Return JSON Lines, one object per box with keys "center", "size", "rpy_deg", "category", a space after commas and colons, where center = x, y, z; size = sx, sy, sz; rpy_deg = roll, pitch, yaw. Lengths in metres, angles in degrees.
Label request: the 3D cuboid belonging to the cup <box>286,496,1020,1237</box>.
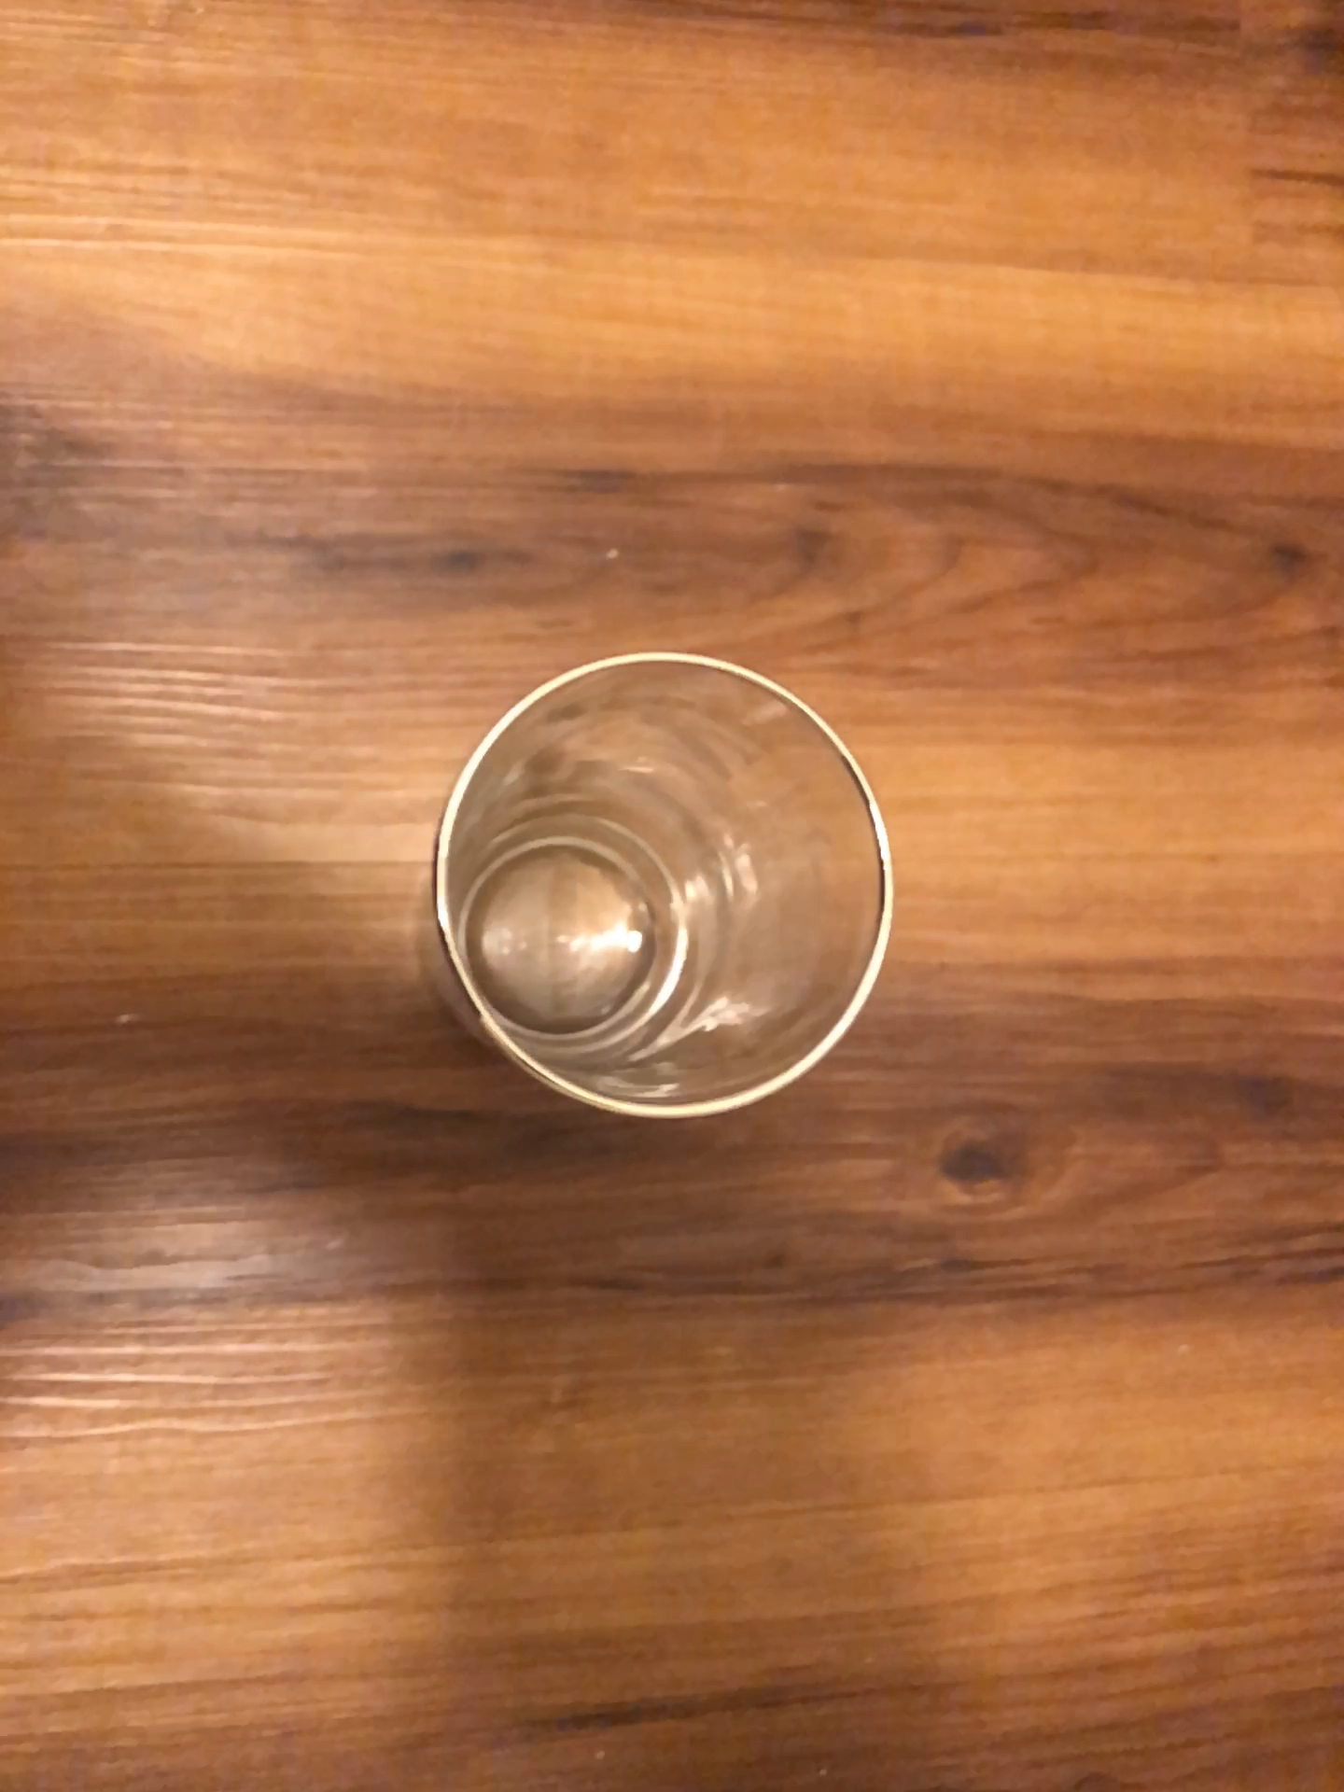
{"center": [-0.014, 0.001, 0.267], "size": [0.068, 0.151, 0.067], "rpy_deg": [1, 85, -10], "category": "cup"}
